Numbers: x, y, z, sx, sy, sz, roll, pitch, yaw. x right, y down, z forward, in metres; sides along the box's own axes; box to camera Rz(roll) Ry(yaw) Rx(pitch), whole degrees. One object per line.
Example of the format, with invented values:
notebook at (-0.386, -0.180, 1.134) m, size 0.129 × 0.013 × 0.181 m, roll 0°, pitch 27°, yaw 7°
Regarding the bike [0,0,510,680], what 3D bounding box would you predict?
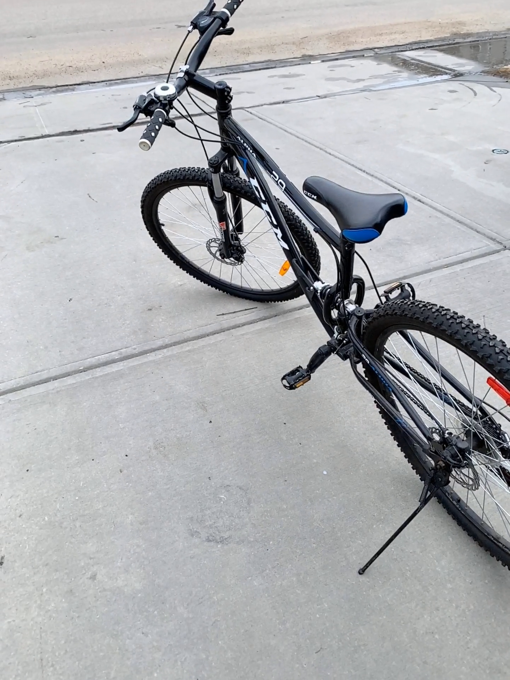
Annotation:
bike at (0.054, -0.123, 1.324) m, size 0.628 × 1.173 × 1.795 m, roll -26°, pitch 46°, yaw -27°
